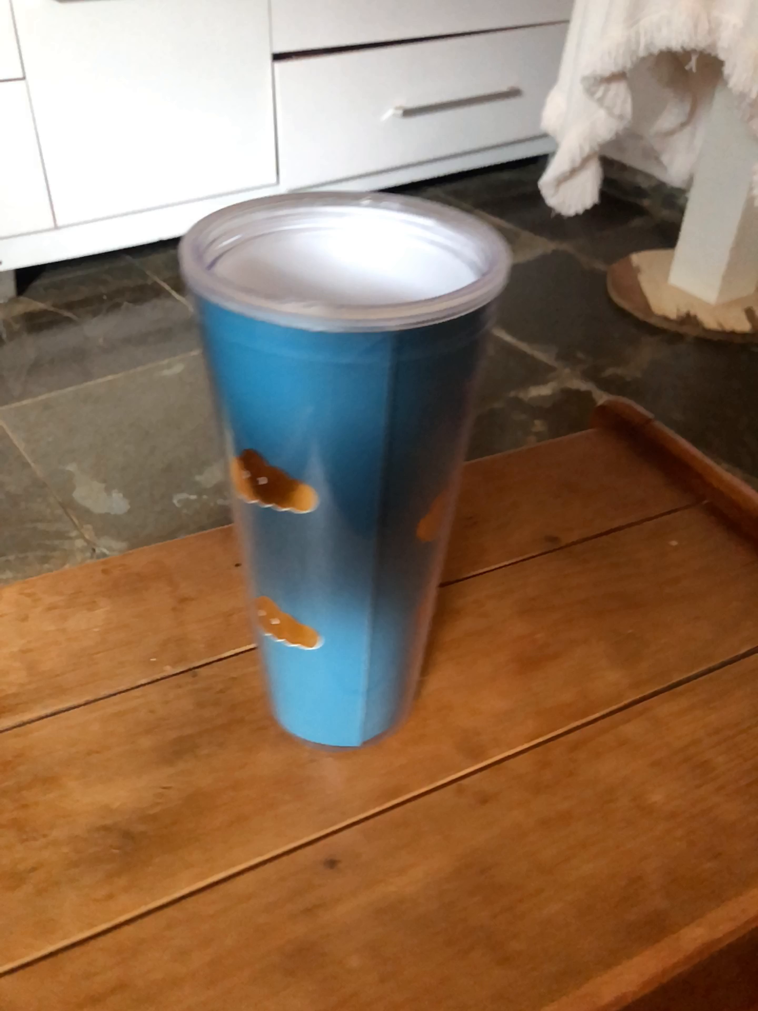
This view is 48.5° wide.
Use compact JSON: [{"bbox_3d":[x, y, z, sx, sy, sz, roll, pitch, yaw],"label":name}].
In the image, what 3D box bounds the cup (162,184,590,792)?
[{"bbox_3d":[-0.010,-0.005,0.301,0.100,0.179,0.101,2,38,-1],"label":"cup"}]
